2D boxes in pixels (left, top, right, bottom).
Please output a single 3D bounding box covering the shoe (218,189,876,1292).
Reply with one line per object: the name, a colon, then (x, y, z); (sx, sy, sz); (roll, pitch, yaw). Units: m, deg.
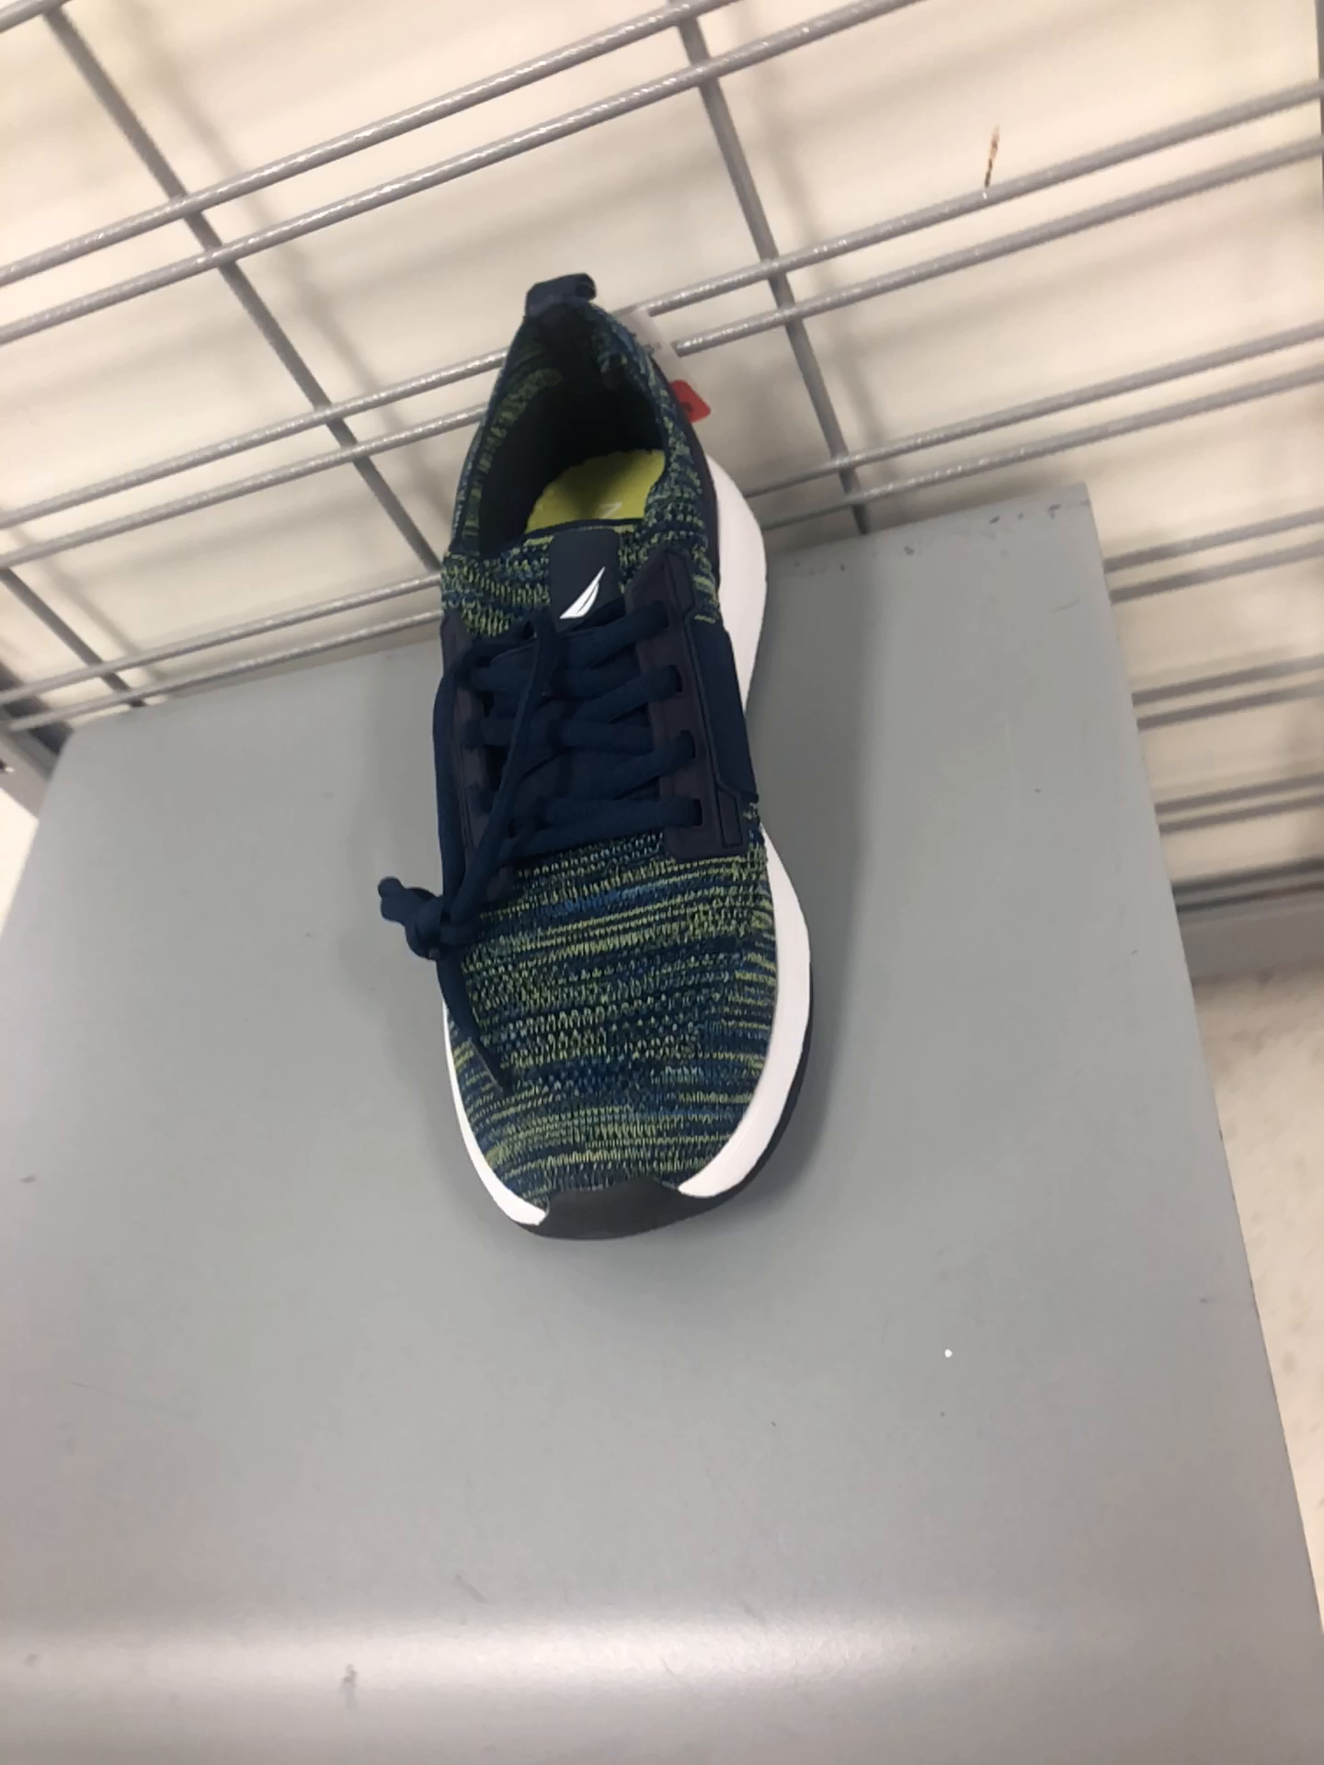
shoe: (-0.019, -0.047, 0.399); (0.113, 0.105, 0.276); (-11, 54, 15)
